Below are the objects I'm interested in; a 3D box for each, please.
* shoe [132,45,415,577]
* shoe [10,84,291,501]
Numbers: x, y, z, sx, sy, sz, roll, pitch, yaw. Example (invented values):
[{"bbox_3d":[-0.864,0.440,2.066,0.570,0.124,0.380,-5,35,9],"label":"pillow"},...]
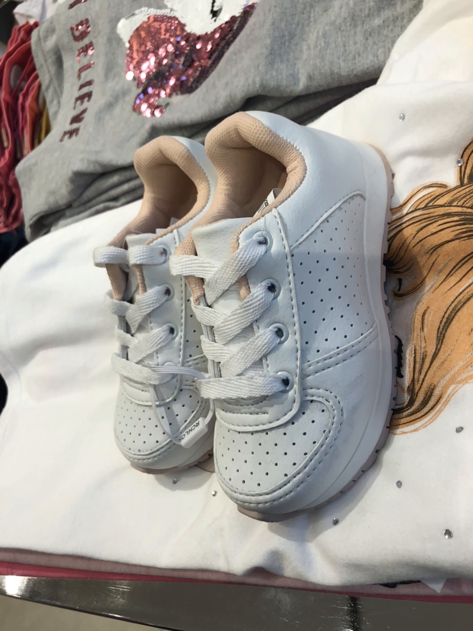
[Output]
[{"bbox_3d":[0.018,-0.001,0.204,0.080,0.060,0.160,-2,79,35],"label":"shoe"},{"bbox_3d":[-0.039,-0.010,0.247,0.080,0.060,0.160,9,85,37],"label":"shoe"}]
